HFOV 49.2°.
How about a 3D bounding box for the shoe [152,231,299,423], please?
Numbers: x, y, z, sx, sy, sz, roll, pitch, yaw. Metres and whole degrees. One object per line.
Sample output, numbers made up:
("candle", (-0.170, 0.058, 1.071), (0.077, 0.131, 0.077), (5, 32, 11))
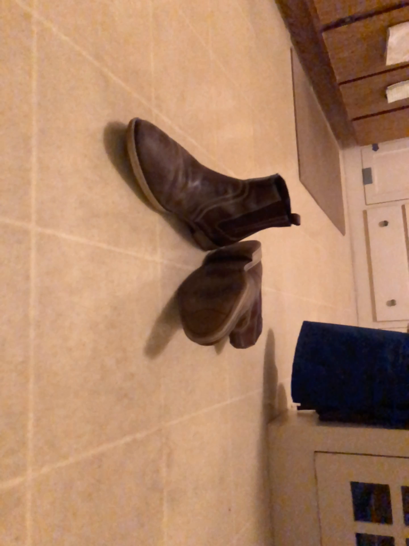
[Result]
("shoe", (0.056, 0.066, 0.723), (0.315, 0.111, 0.161), (-49, 130, -57))

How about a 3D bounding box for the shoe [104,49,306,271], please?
("shoe", (0.027, -0.130, 0.644), (0.314, 0.160, 0.111), (45, 45, -53))
